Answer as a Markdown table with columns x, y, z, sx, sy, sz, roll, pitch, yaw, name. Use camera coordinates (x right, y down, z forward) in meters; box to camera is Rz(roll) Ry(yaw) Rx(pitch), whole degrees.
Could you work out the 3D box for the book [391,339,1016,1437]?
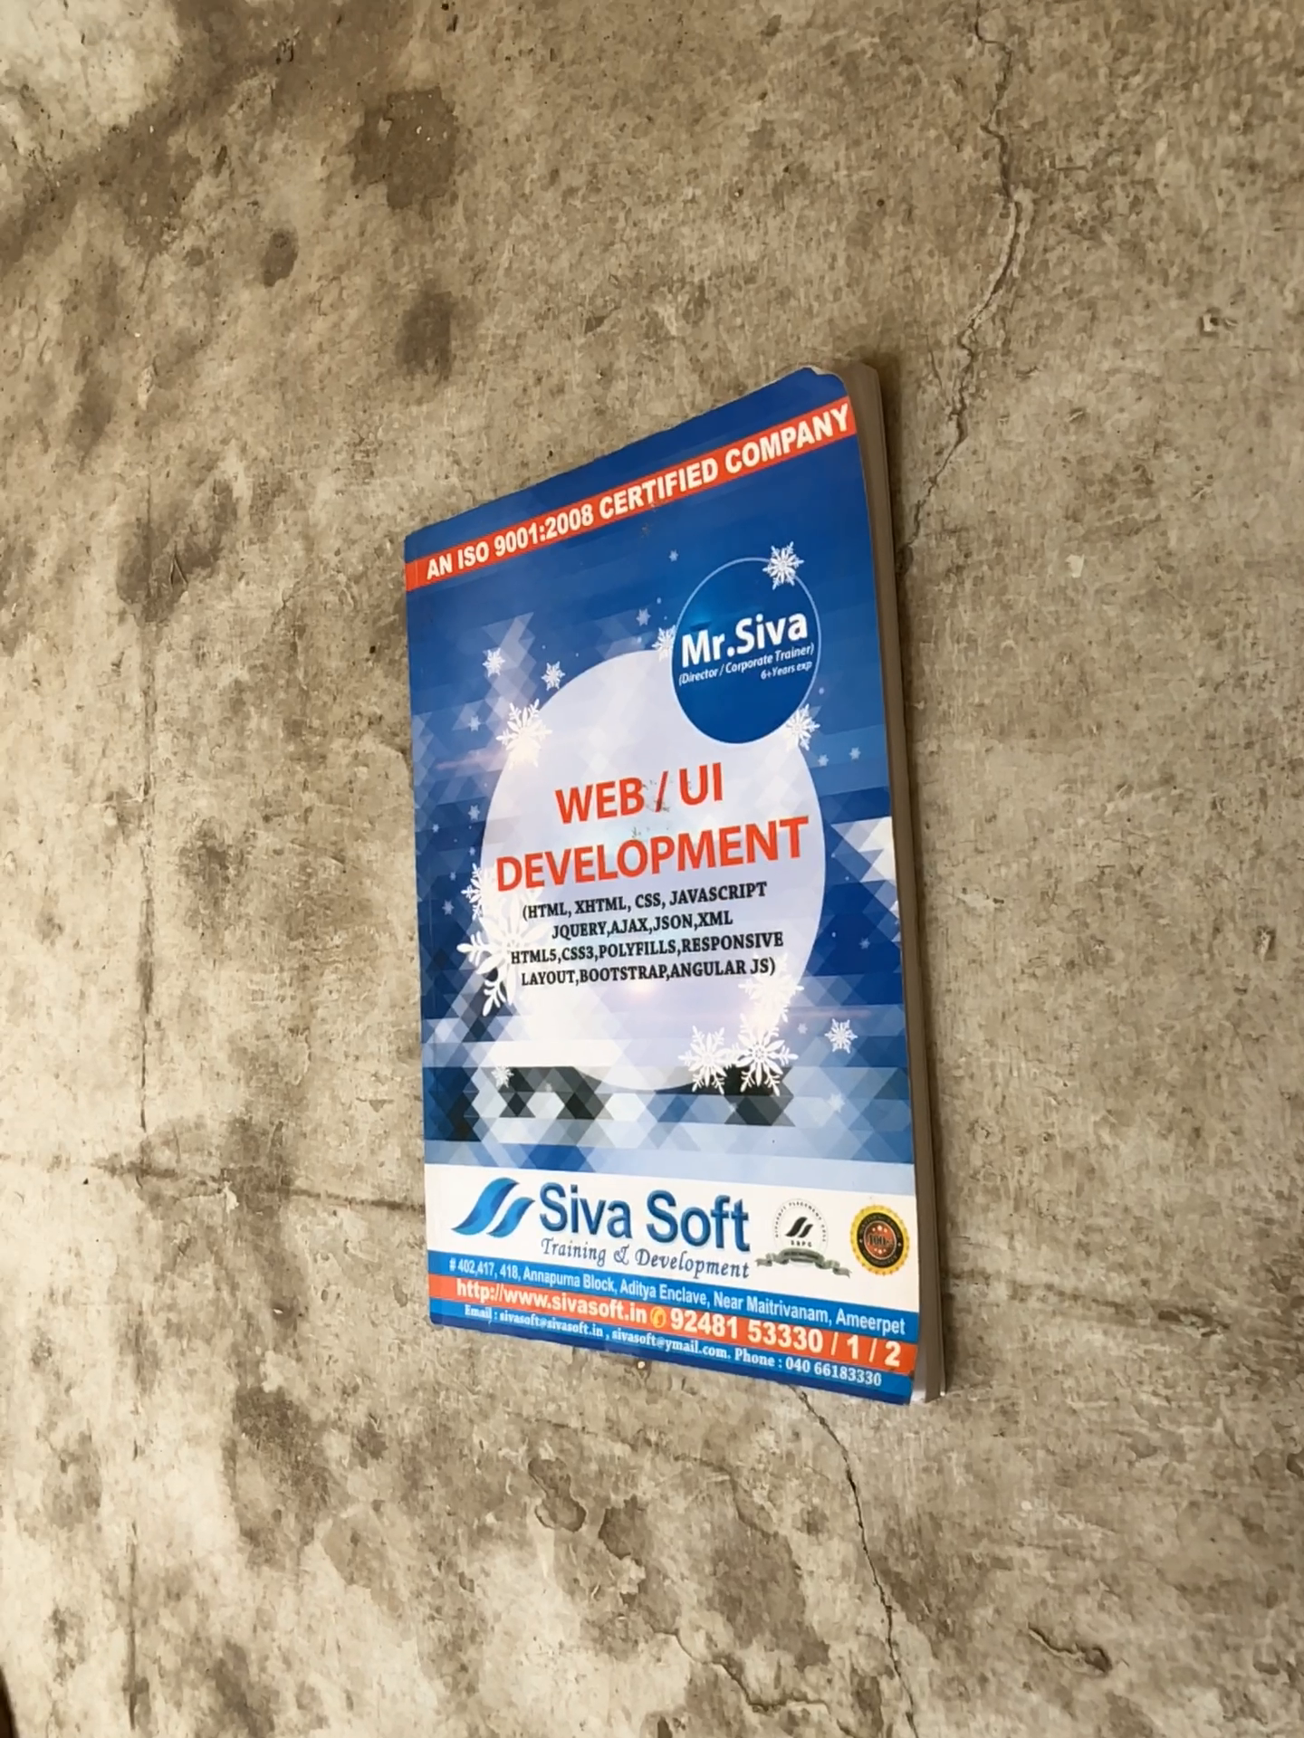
| x | y | z | sx | sy | sz | roll | pitch | yaw | name |
| --- | --- | --- | --- | --- | --- | --- | --- | --- | --- |
| 0.001 | 0.010 | 0.449 | 0.211 | 0.030 | 0.280 | -6 | 84 | 42 | book |
